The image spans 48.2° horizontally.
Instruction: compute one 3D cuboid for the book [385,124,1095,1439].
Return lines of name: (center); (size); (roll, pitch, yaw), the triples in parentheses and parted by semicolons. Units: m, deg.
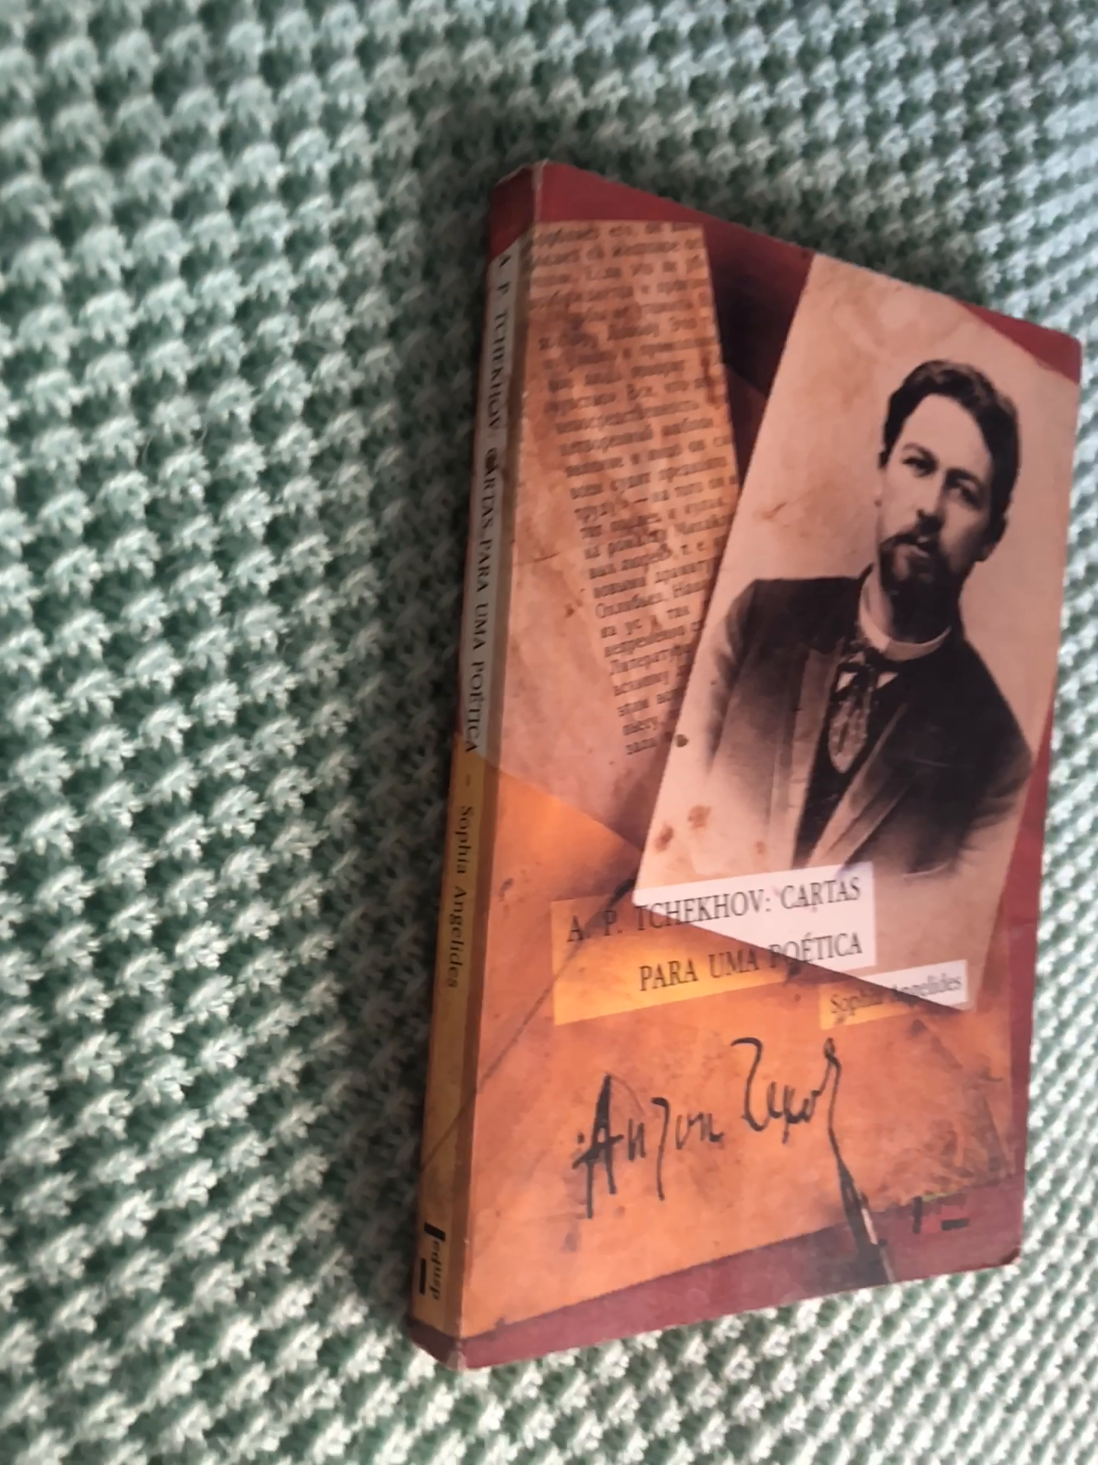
book: (0.048, 0.011, 0.251); (0.151, 0.030, 0.210); (4, 89, -34)
